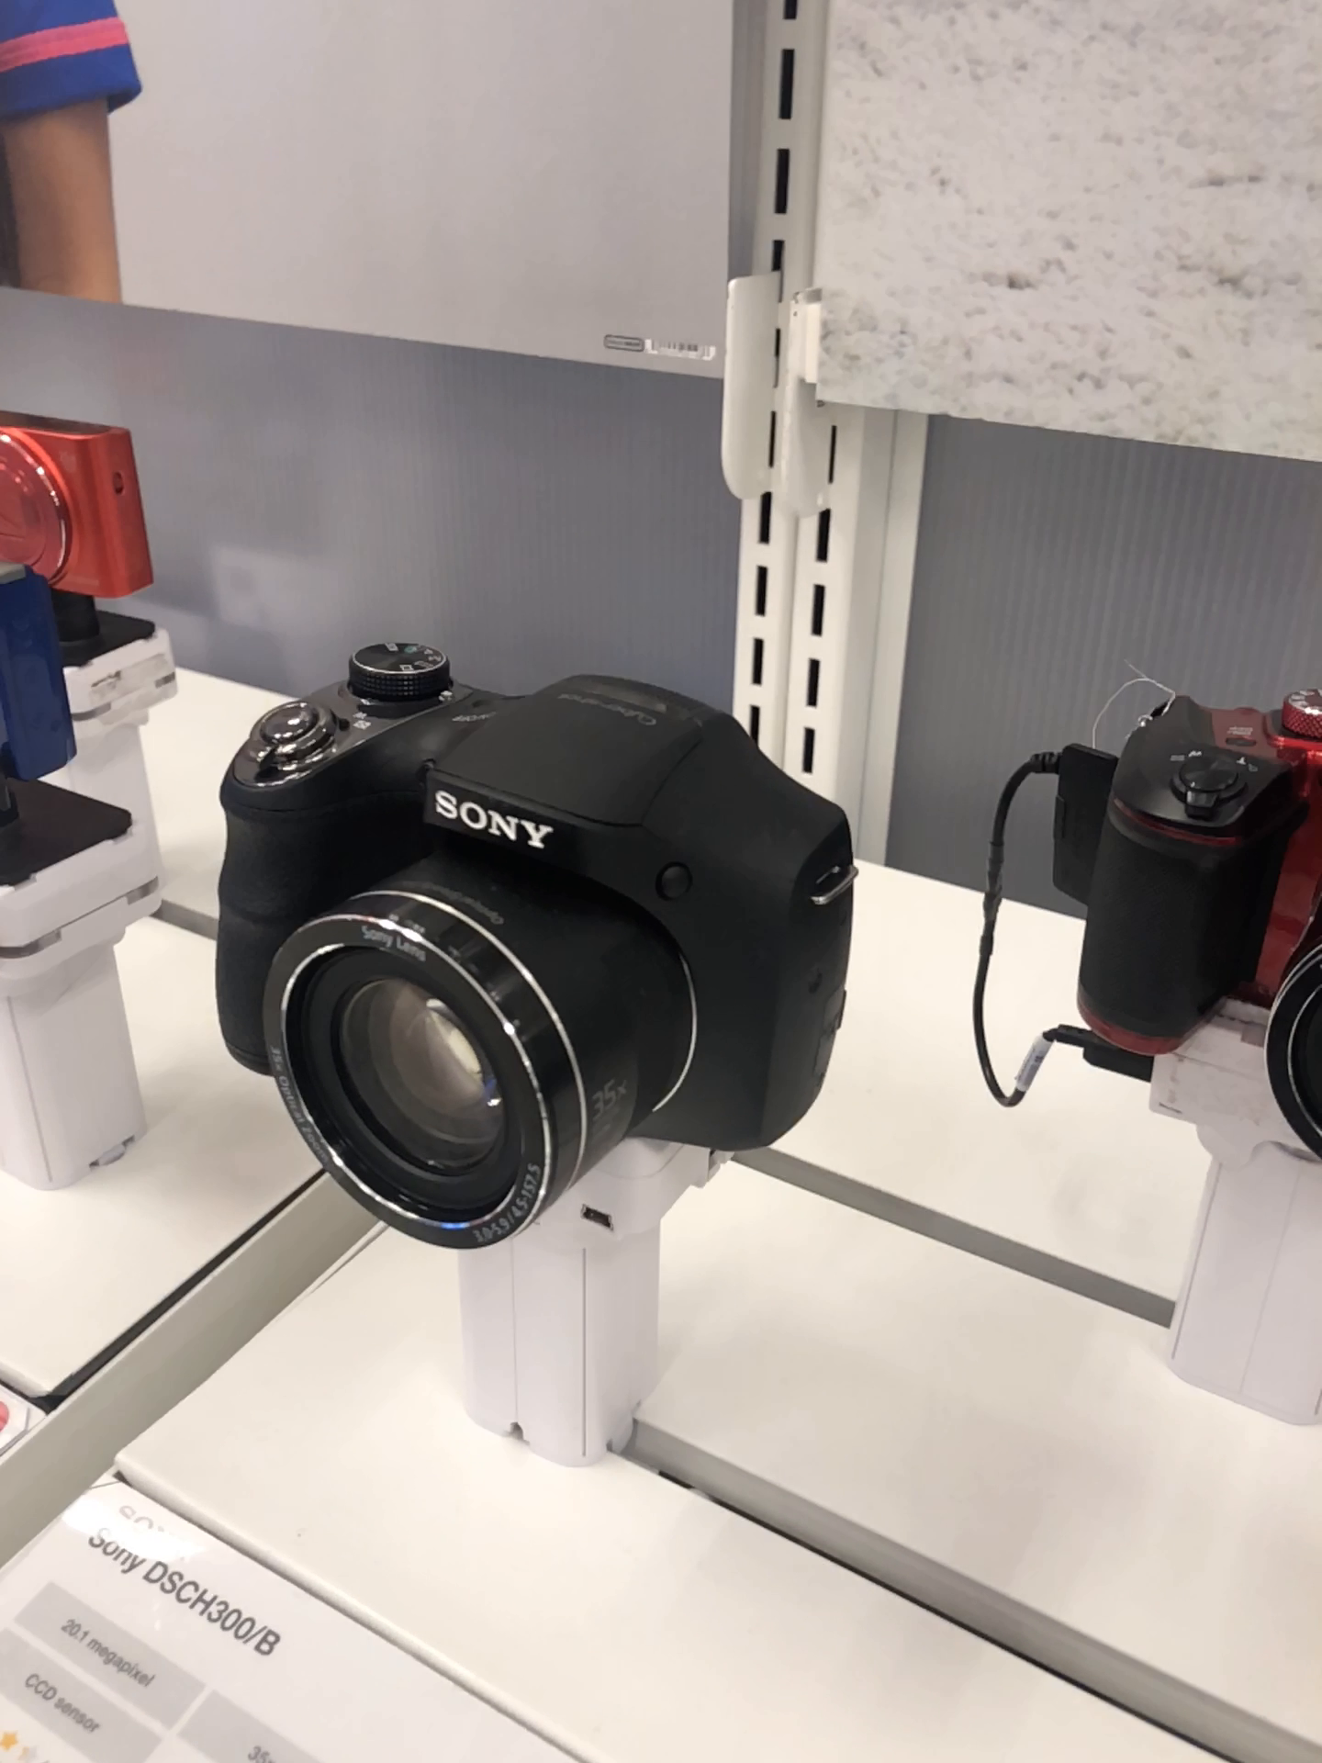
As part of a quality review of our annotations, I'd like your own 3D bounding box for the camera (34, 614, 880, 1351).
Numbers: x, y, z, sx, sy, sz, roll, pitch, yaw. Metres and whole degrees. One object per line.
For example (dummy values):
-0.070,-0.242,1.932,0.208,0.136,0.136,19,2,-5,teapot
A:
-0.034,0.009,0.275,0.119,0.076,0.087,16,33,25,camera
